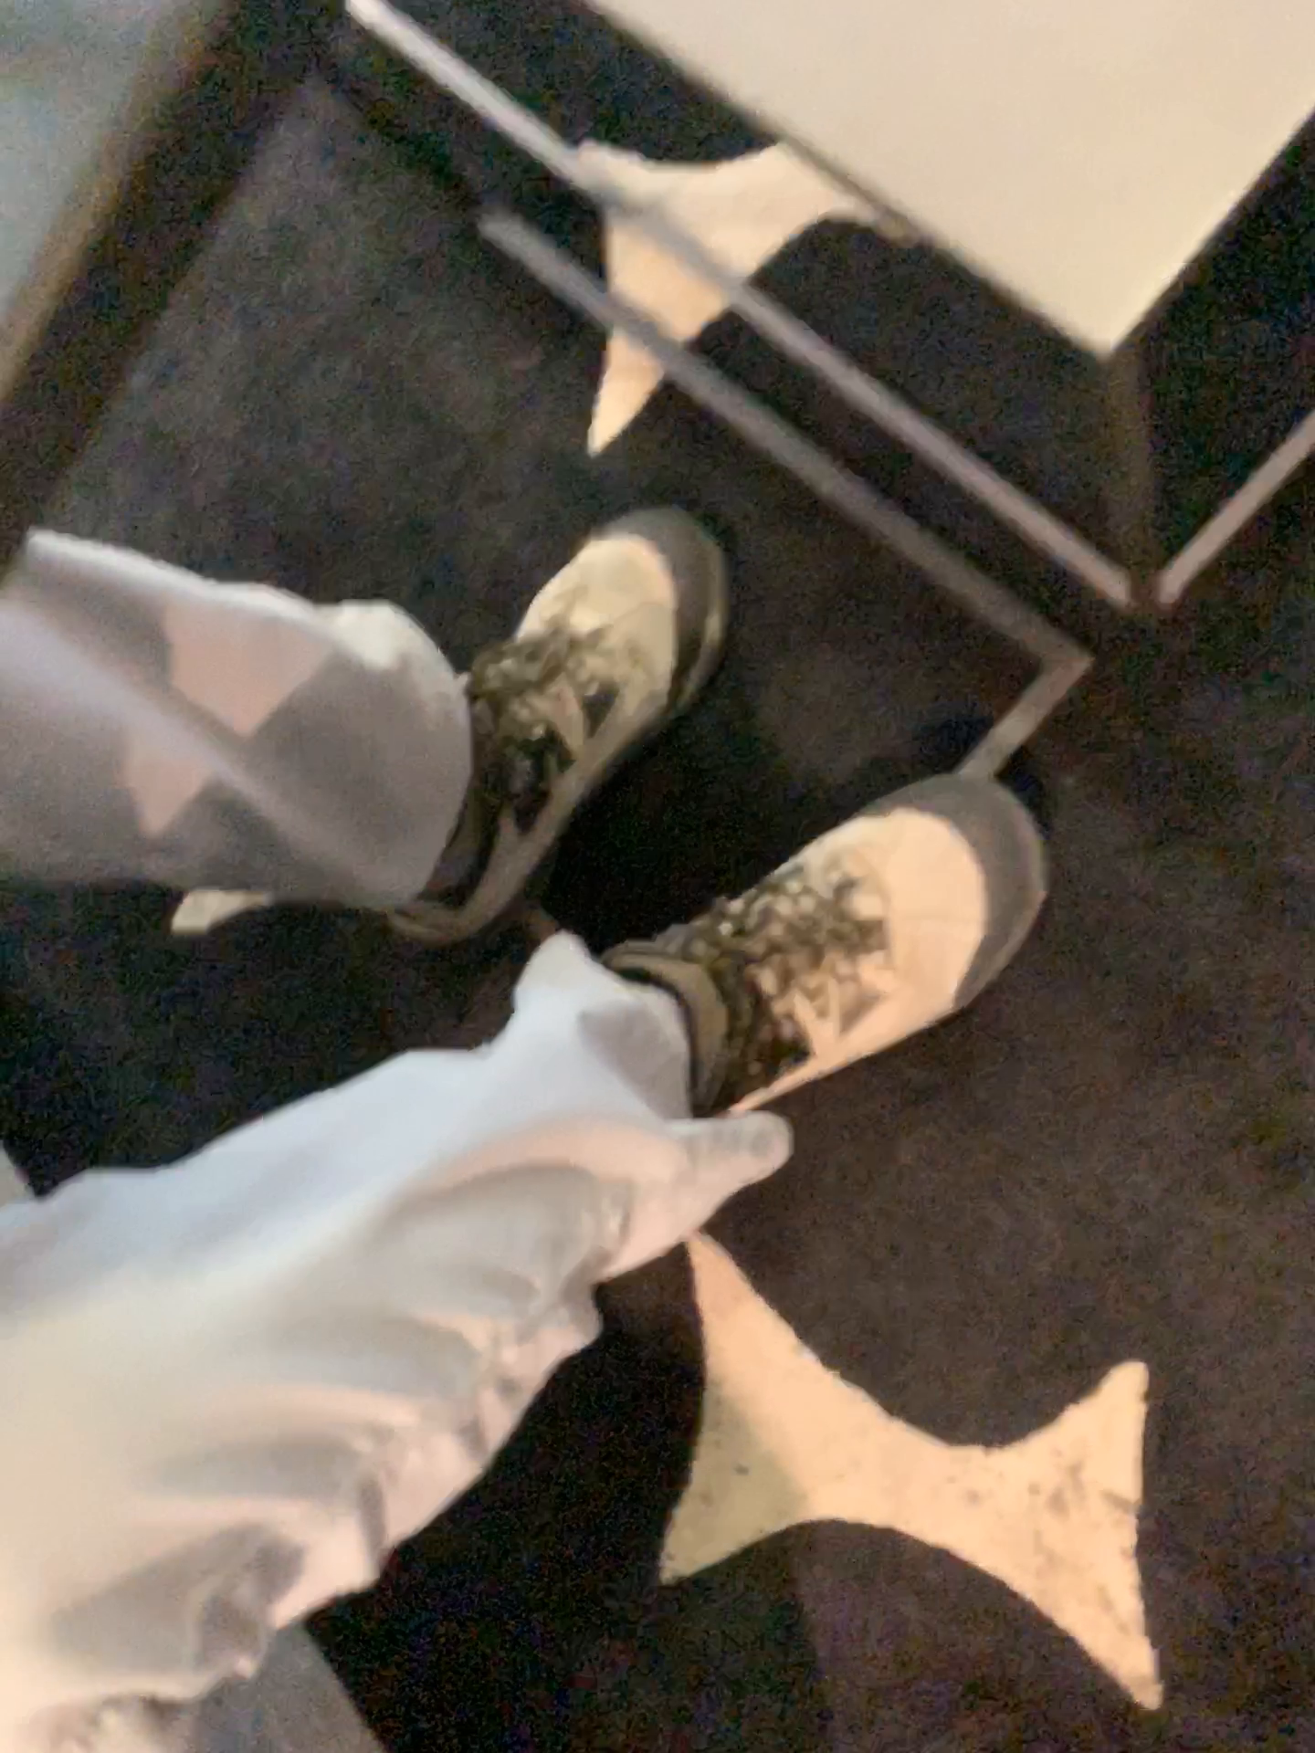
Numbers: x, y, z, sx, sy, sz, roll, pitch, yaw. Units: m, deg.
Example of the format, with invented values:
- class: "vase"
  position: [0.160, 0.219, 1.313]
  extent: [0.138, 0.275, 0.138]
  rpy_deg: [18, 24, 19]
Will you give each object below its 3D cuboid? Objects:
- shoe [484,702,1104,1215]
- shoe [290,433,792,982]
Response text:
- class: "shoe"
  position: [0.069, 0.048, 0.691]
  extent: [0.285, 0.090, 0.123]
  rpy_deg: [-32, 76, 14]
- class: "shoe"
  position: [-0.073, -0.091, 0.791]
  extent: [0.121, 0.080, 0.304]
  rpy_deg: [44, 104, 19]
